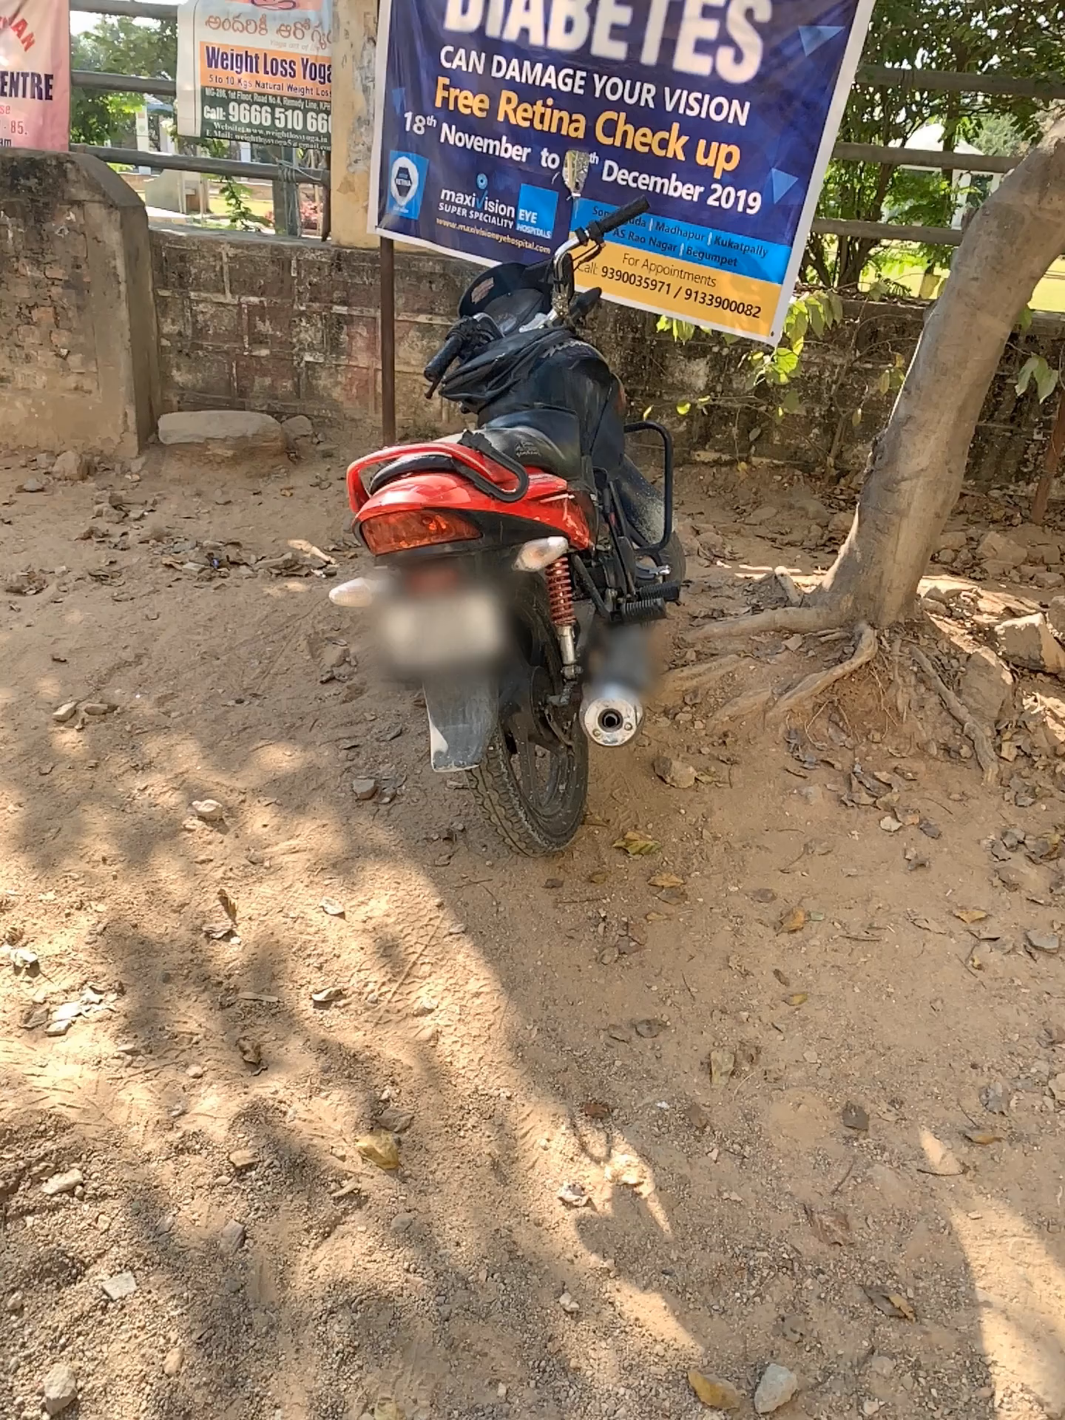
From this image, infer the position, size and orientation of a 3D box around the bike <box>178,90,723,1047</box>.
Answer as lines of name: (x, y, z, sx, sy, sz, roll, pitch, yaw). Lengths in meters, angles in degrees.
bike: (-0.134, -0.504, 2.460, 0.751, 1.442, 1.623, 6, 29, 1)
